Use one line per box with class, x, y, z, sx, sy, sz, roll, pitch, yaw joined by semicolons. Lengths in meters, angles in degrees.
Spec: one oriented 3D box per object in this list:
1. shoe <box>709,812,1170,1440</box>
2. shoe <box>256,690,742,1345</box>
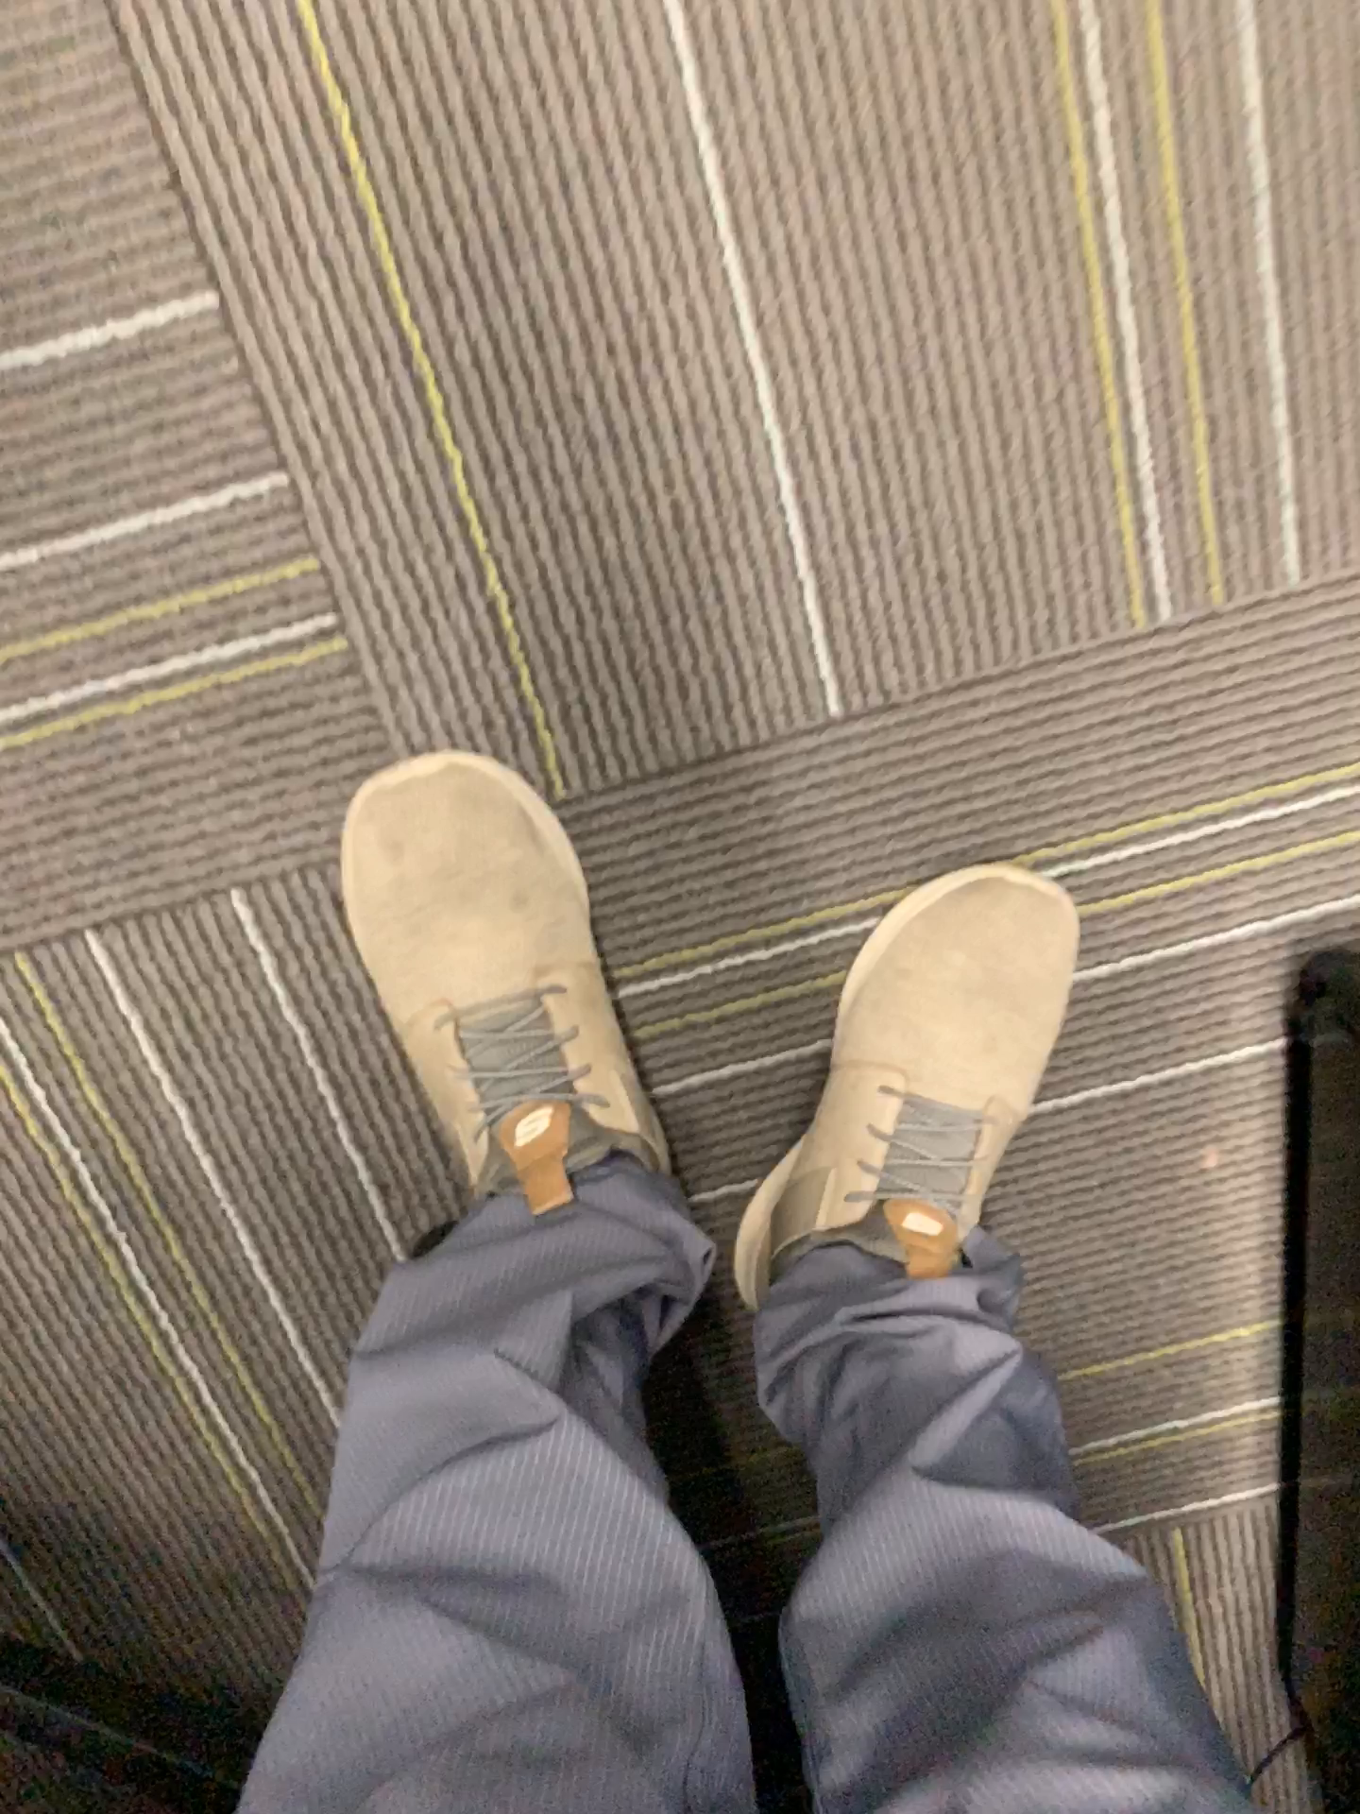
shoe;0.120;0.118;0.727;0.107;0.098;0.303;16;112;-11
shoe;-0.081;0.062;0.716;0.126;0.098;0.303;-19;114;4
